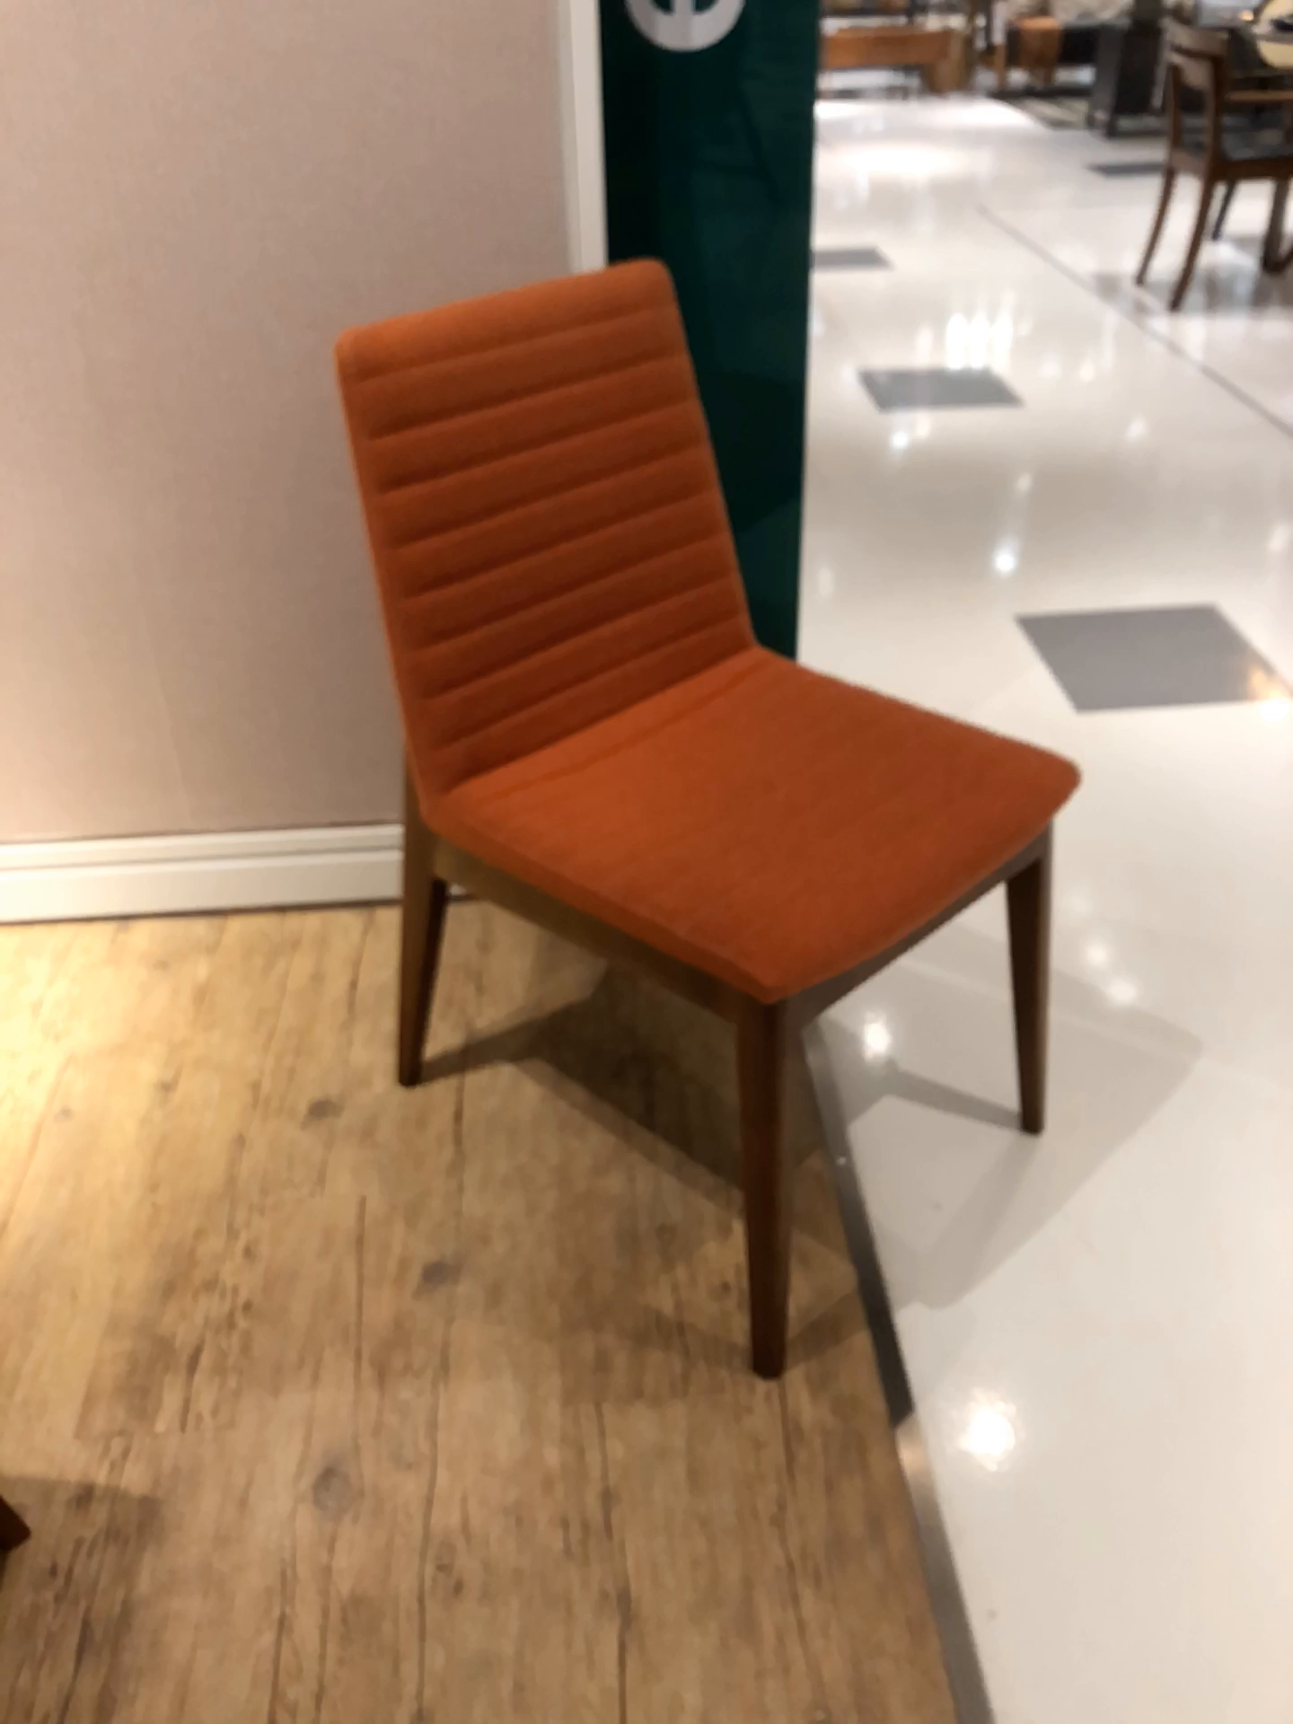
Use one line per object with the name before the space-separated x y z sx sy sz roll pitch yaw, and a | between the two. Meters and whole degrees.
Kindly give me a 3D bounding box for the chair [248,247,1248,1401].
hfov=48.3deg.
chair | 0.082 -0.084 1.414 0.632 0.814 0.532 28 44 37
